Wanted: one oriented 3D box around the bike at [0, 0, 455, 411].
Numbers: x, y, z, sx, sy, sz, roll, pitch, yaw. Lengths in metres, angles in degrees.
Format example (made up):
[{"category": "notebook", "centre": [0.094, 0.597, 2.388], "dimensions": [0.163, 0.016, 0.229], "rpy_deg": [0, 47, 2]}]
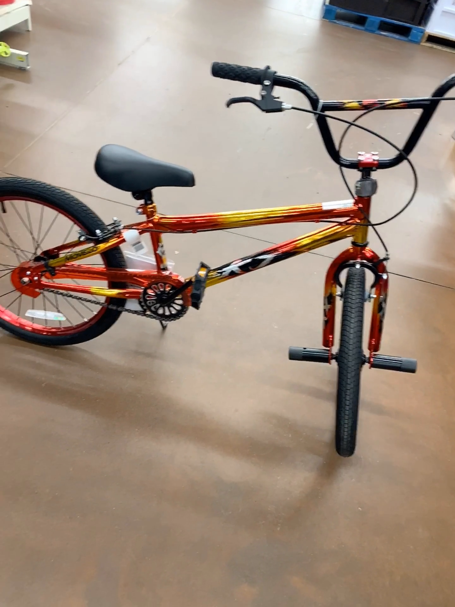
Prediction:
[{"category": "bike", "centre": [-0.111, -0.304, 1.141], "dimensions": [1.122, 0.925, 0.707], "rpy_deg": [6, 44, -6]}]
